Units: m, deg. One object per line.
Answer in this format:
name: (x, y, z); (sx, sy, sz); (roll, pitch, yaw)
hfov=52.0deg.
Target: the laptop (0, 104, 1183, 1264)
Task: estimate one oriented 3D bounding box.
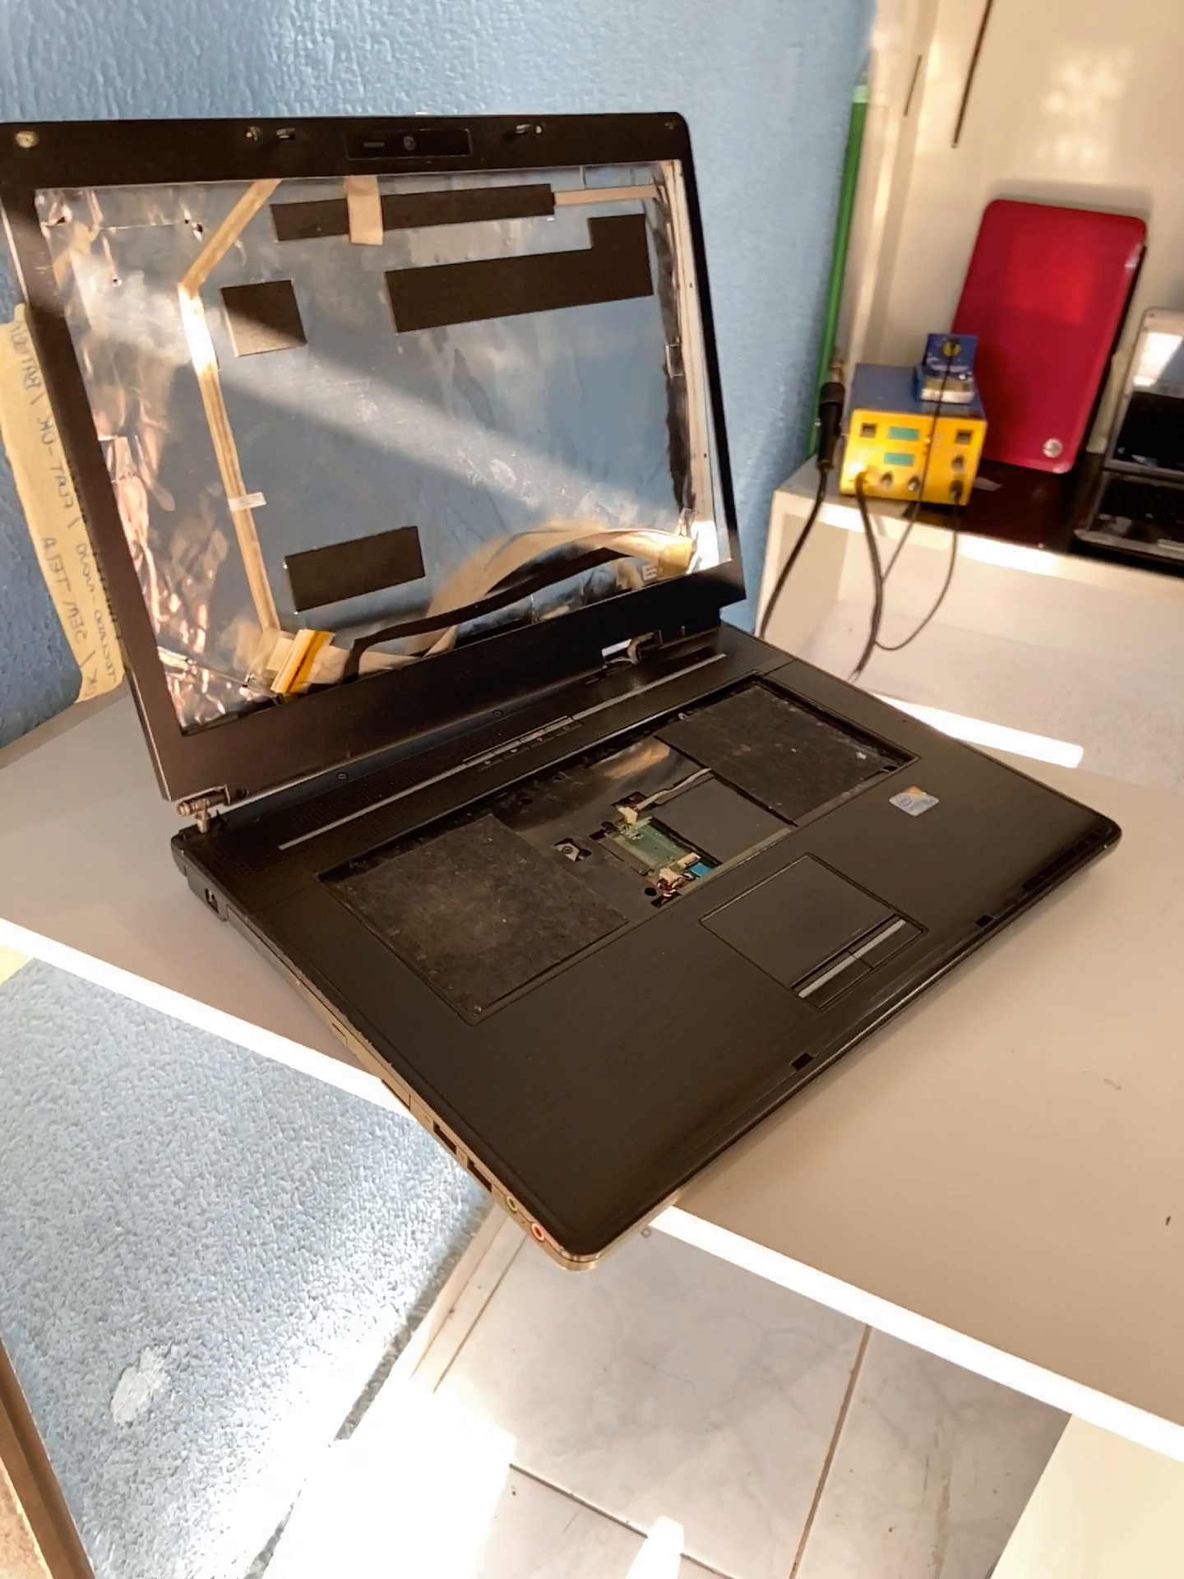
laptop: (0.016, -0.109, 0.509); (0.353, 0.261, 0.351); (-25, 44, -35)
